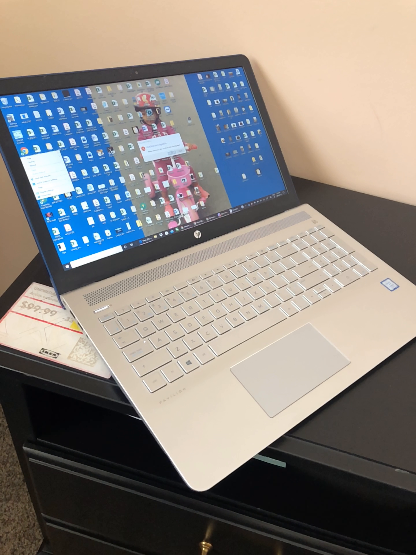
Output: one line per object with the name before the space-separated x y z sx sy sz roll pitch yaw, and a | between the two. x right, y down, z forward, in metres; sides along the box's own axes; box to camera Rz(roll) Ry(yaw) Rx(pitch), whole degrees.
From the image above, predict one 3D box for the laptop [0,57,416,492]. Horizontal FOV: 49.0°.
laptop | 0.021 -0.076 0.499 0.366 0.141 0.402 -23 54 -32
